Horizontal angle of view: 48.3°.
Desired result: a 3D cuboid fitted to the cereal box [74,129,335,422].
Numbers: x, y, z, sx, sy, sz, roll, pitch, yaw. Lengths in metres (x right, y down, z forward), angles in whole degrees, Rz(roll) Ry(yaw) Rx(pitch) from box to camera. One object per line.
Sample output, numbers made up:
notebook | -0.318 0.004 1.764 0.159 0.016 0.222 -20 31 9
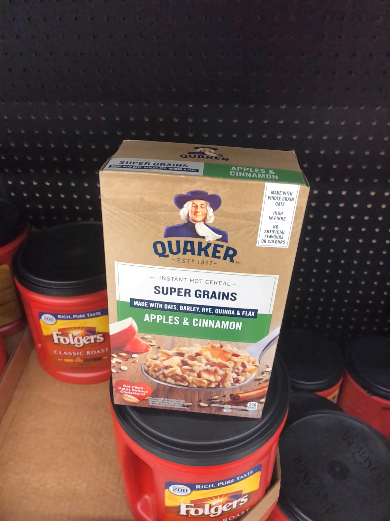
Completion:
cereal box | 0.004 0.018 0.311 0.140 0.199 0.060 5 33 5
